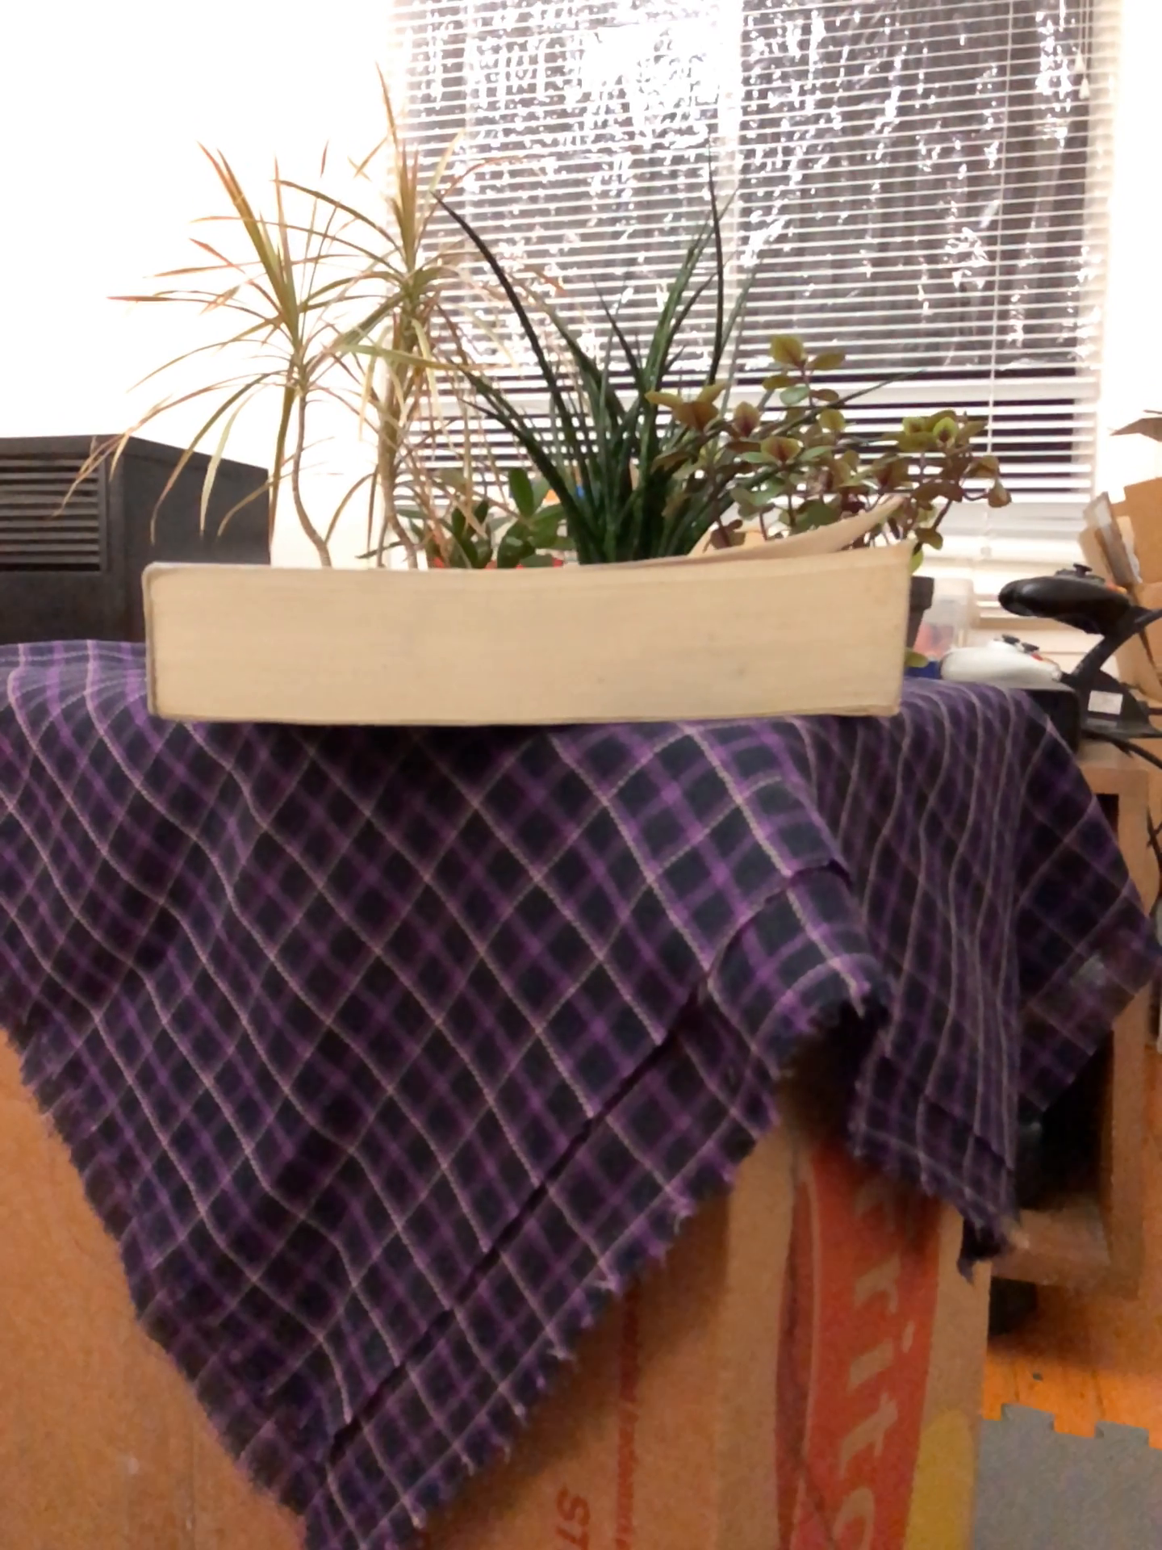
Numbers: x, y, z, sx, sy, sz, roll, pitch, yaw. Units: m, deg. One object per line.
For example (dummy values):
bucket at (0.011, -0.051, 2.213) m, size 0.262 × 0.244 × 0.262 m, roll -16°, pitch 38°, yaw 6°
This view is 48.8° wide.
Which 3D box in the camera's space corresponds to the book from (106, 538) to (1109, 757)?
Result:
book at (-0.007, -0.037, 0.382) m, size 0.200 × 0.040 × 0.260 m, roll 0°, pitch 6°, yaw -8°
